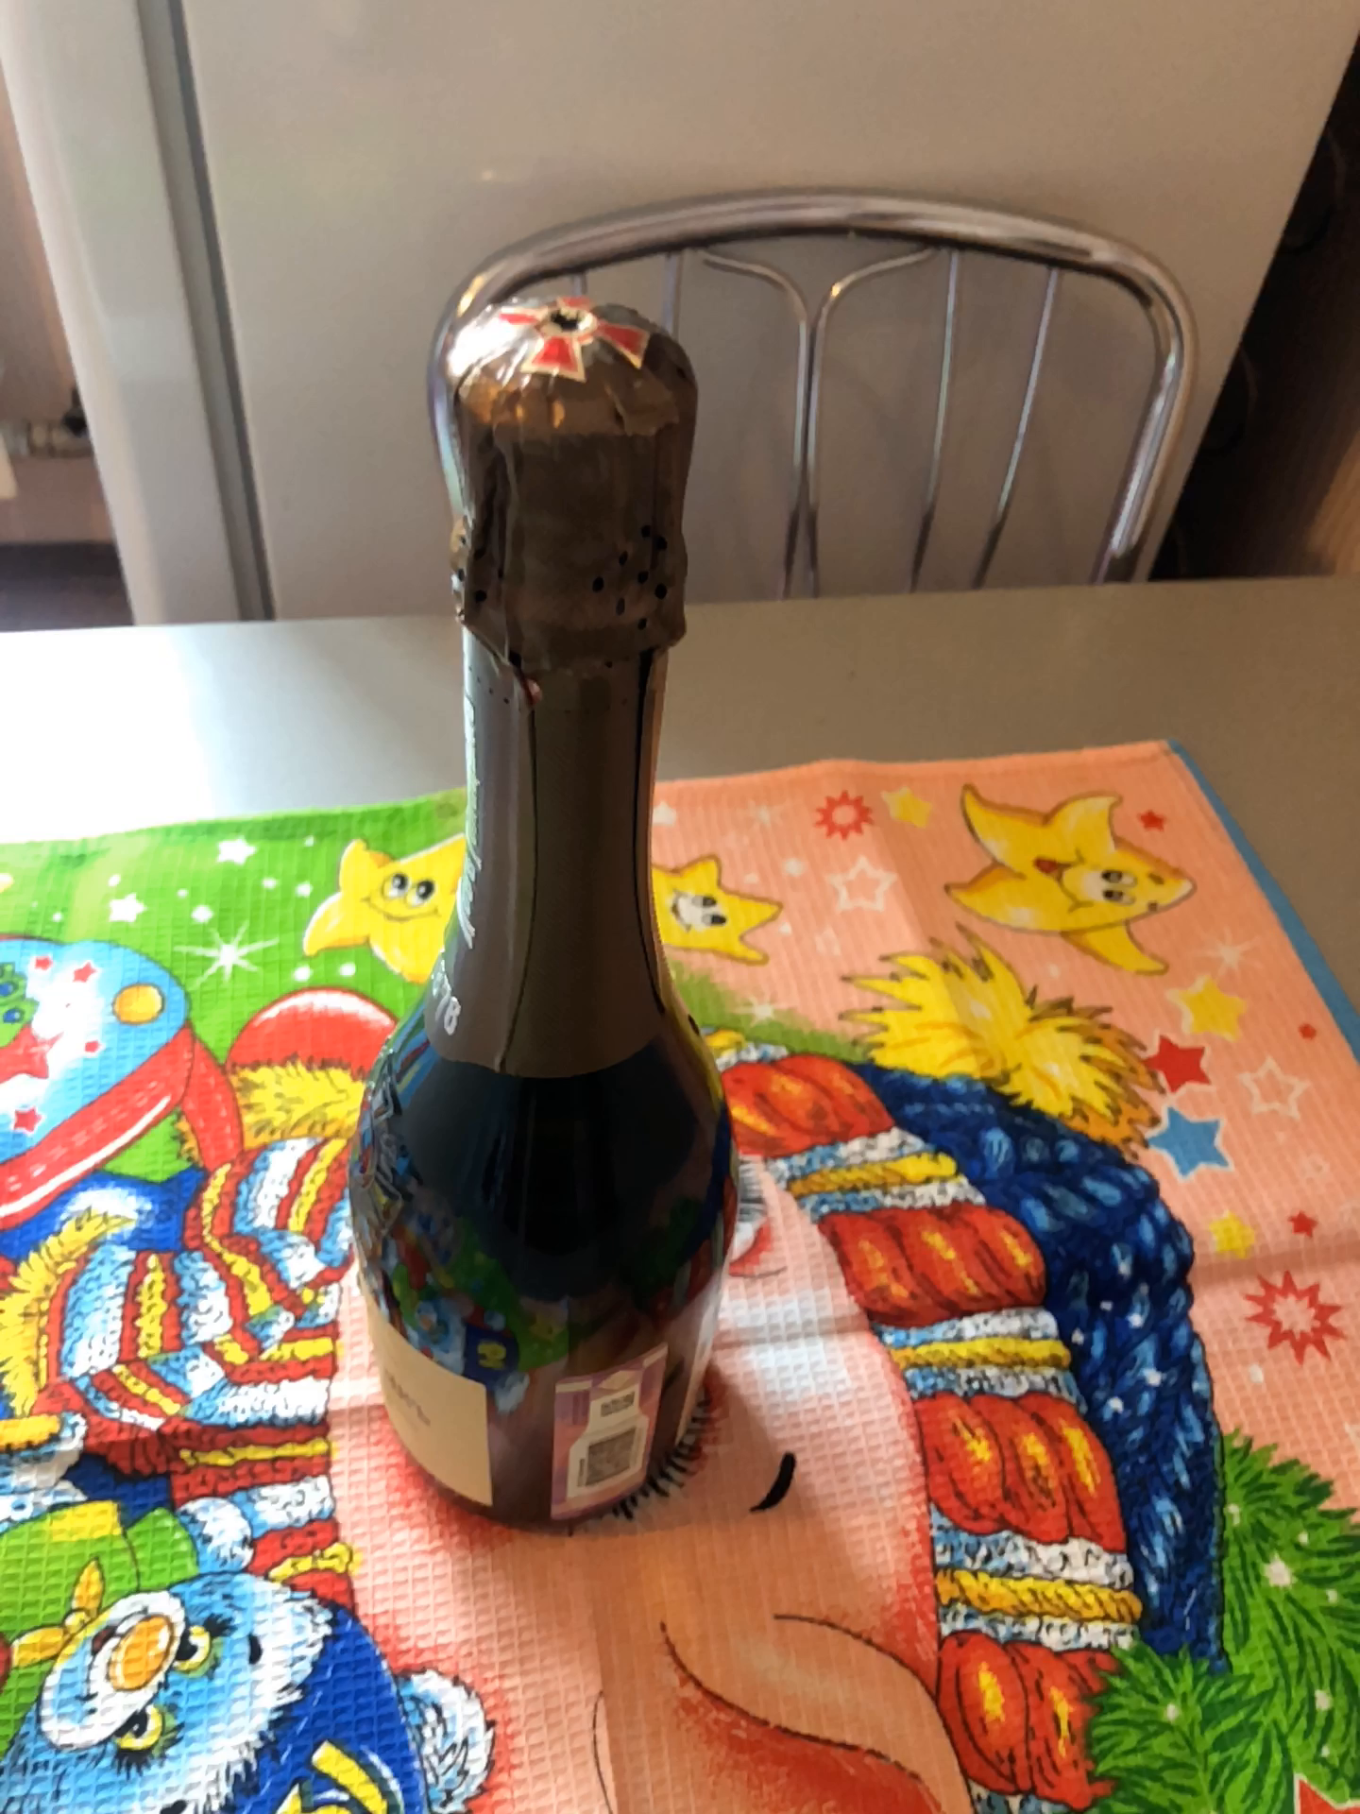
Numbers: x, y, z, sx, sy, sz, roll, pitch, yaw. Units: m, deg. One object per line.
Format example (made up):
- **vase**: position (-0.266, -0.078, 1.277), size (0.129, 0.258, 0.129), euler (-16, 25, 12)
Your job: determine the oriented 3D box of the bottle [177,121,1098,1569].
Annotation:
- **bottle**: position (-0.021, 0.028, 0.296), size (0.093, 0.308, 0.090), euler (3, 49, -4)
